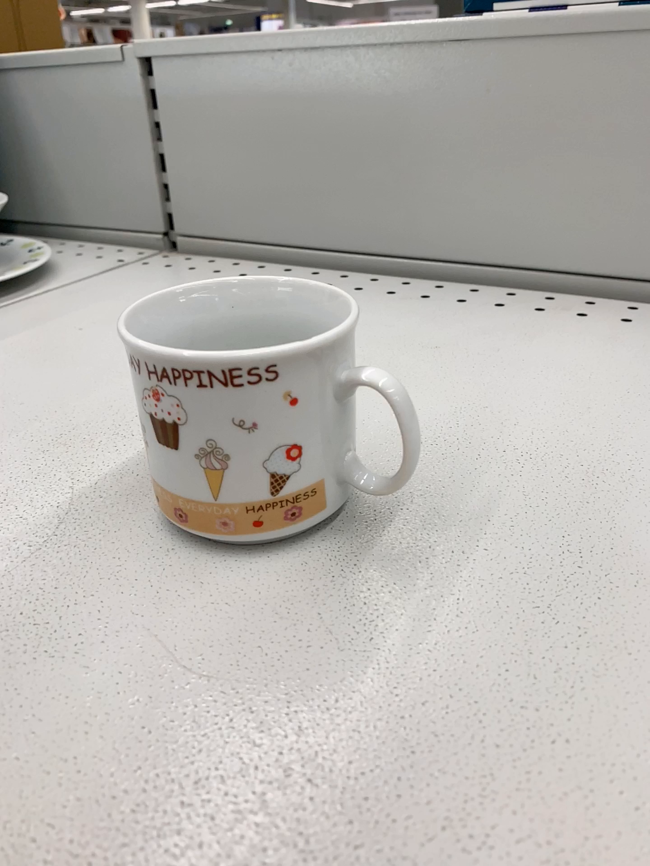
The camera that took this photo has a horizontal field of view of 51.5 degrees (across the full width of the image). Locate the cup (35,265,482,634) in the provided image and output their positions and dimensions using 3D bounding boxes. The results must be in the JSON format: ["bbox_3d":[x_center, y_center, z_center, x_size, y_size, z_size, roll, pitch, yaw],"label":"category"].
[{"bbox_3d":[-0.017,-0.005,0.218,0.109,0.069,0.079,14,32,28],"label":"cup"}]
